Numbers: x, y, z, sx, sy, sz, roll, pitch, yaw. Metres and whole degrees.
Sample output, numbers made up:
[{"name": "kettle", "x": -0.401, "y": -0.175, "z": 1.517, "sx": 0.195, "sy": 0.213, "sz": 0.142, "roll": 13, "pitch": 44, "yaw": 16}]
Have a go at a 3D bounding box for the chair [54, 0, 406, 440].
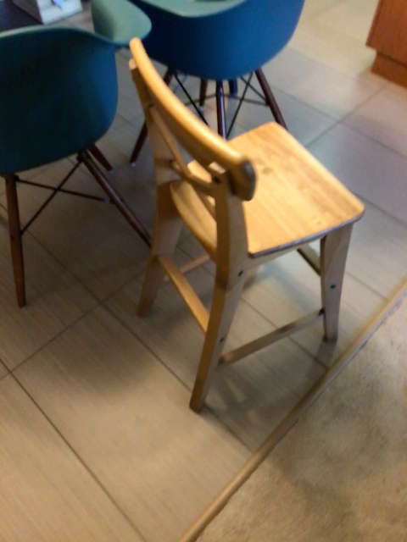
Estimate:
[{"name": "chair", "x": 0.099, "y": -0.077, "z": 0.928, "sx": 0.492, "sy": 0.686, "sz": 0.441, "roll": -27, "pitch": 56, "yaw": -17}]
